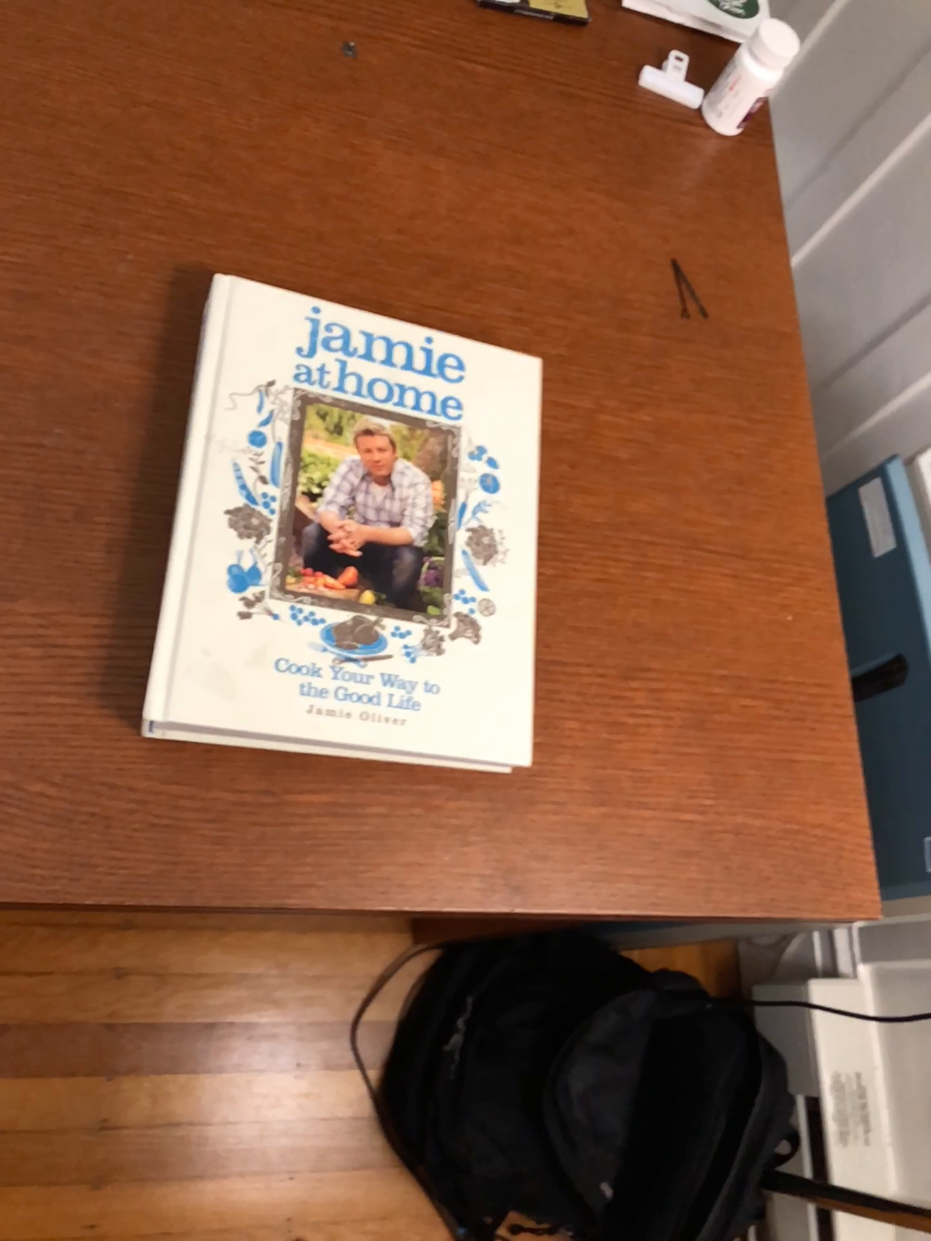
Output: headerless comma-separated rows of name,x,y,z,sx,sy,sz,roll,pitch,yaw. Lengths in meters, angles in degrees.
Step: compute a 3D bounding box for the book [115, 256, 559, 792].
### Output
book,-0.057,-0.052,0.556,0.210,0.040,0.261,10,68,-17
